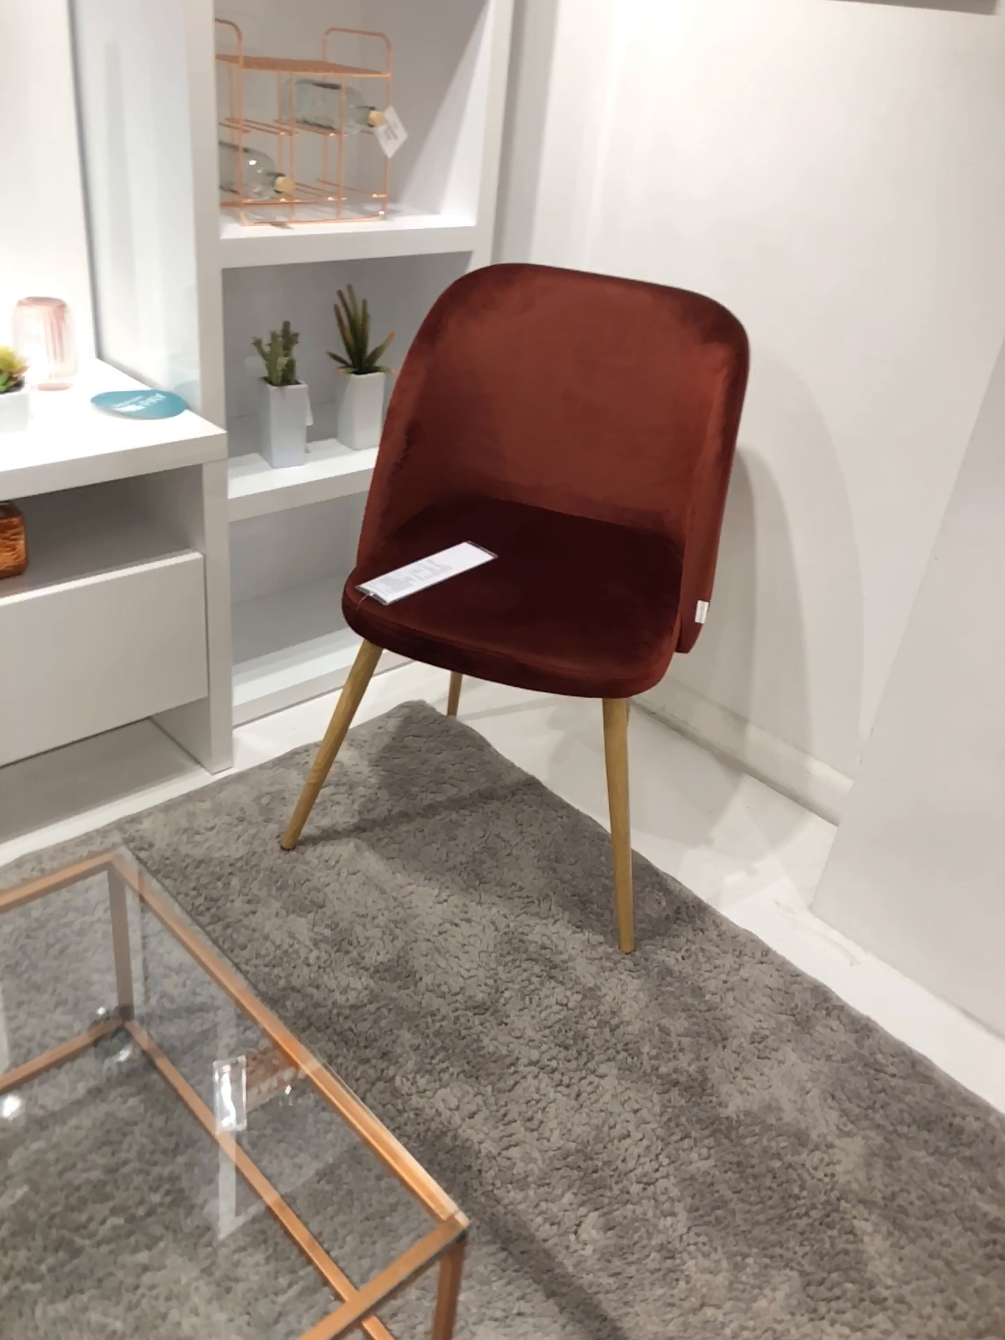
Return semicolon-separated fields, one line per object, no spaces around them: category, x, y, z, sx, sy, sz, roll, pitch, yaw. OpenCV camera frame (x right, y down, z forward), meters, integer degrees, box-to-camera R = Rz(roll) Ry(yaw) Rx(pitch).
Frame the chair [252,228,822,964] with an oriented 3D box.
chair;0.057;-0.151;1.571;0.590;0.734;0.655;12;31;8
